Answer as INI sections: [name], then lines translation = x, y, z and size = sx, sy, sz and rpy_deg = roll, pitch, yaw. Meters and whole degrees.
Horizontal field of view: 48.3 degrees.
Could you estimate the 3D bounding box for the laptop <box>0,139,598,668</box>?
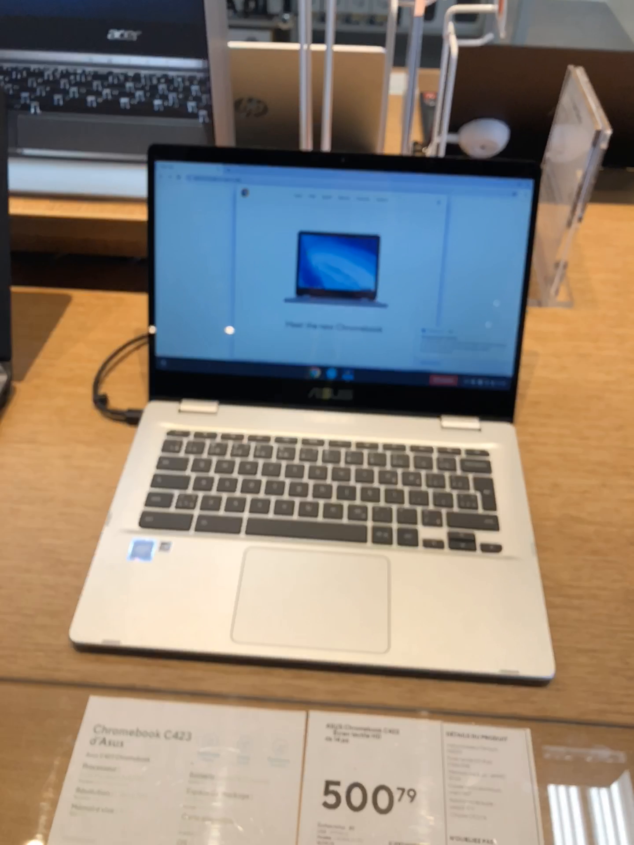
[laptop]
translation = -0.013, -0.033, 0.508
size = 0.281, 0.186, 0.337
rpy_deg = 3, 45, -1
